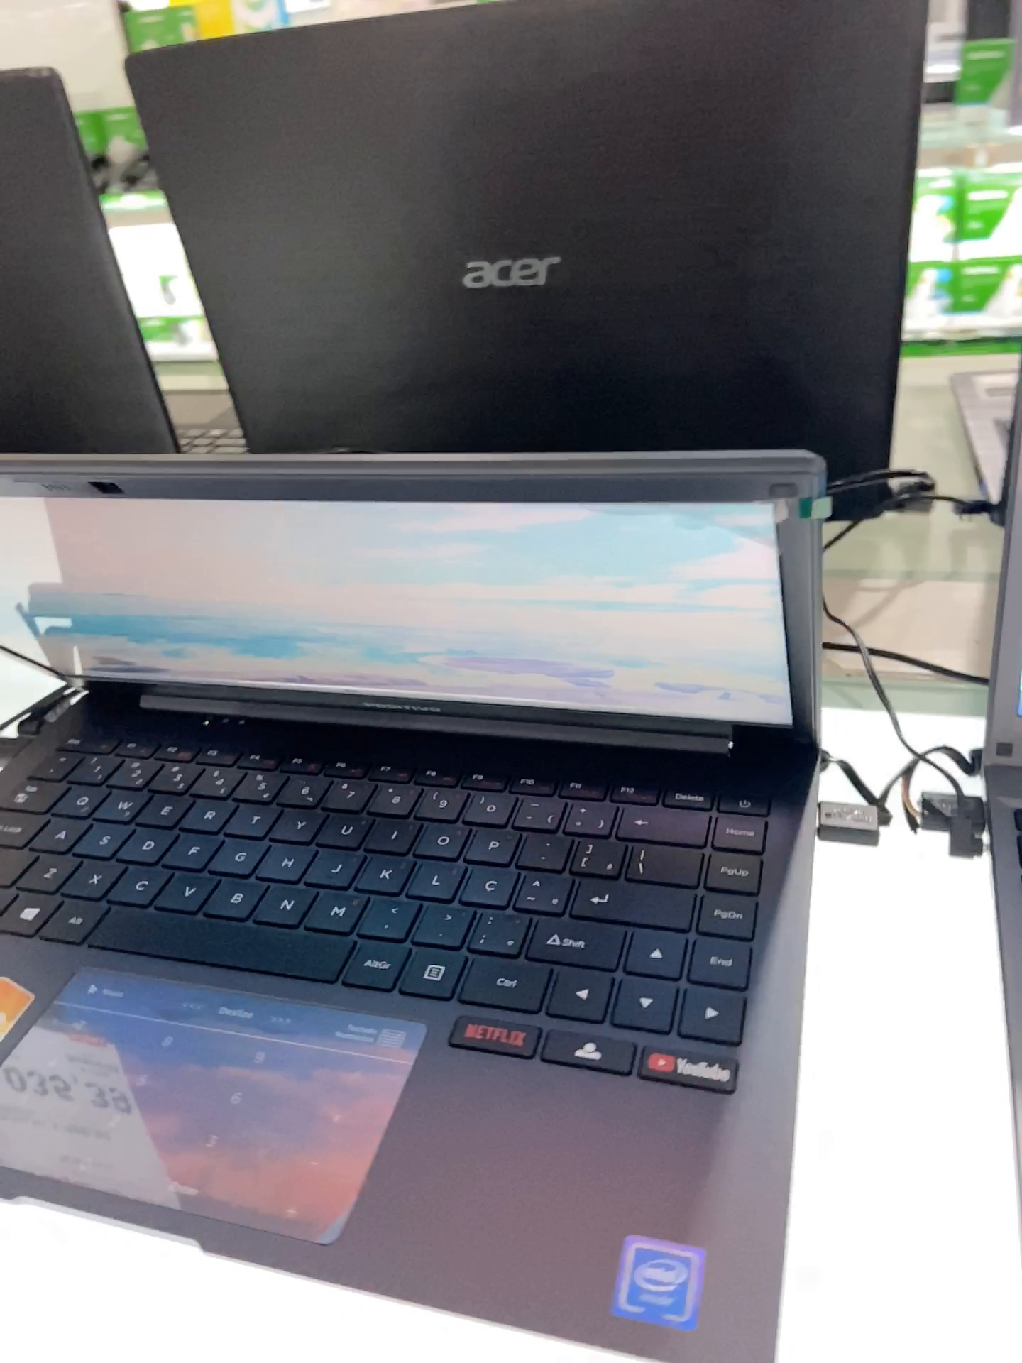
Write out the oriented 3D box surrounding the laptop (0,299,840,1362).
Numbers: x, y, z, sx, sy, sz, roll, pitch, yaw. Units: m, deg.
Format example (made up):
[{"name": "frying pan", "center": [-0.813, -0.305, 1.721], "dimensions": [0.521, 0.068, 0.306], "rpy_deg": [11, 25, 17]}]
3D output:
[{"name": "laptop", "center": [-0.082, 0.006, 0.320], "dimensions": [0.333, 0.163, 0.223], "rpy_deg": [4, 34, 18]}]
